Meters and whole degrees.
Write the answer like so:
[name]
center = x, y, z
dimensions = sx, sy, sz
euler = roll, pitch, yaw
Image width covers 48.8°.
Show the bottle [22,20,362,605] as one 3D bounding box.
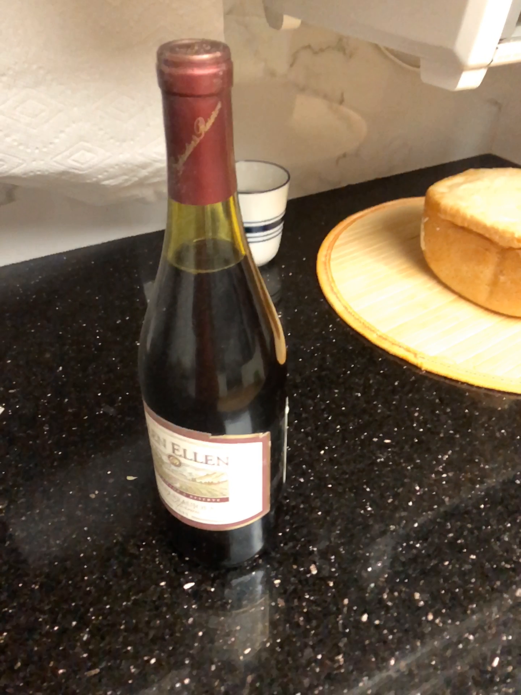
[bottle]
center = -0.024, 0.002, 0.305
dimensions = 0.090, 0.288, 0.090
euler = 0, 38, 0
